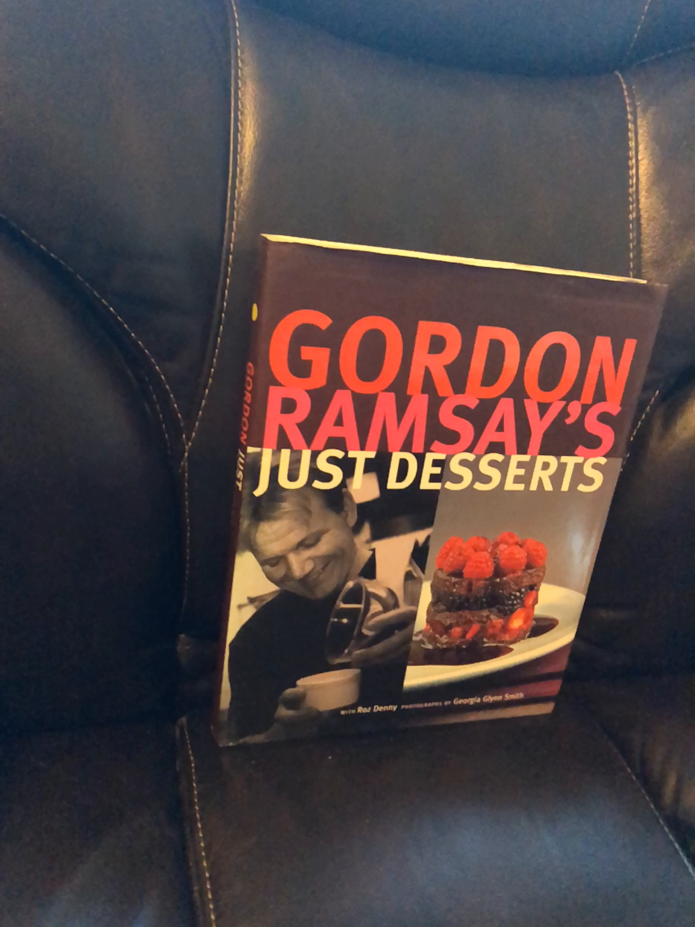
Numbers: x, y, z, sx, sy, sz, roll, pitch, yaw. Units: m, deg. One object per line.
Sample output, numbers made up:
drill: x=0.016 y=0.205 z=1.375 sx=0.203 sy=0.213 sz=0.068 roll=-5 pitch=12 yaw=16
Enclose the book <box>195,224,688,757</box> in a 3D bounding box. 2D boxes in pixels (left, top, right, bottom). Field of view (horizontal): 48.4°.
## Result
book: x=0.043 y=0.031 z=0.437 sx=0.230 sy=0.293 sz=0.030 roll=1 pitch=25 yaw=-19
